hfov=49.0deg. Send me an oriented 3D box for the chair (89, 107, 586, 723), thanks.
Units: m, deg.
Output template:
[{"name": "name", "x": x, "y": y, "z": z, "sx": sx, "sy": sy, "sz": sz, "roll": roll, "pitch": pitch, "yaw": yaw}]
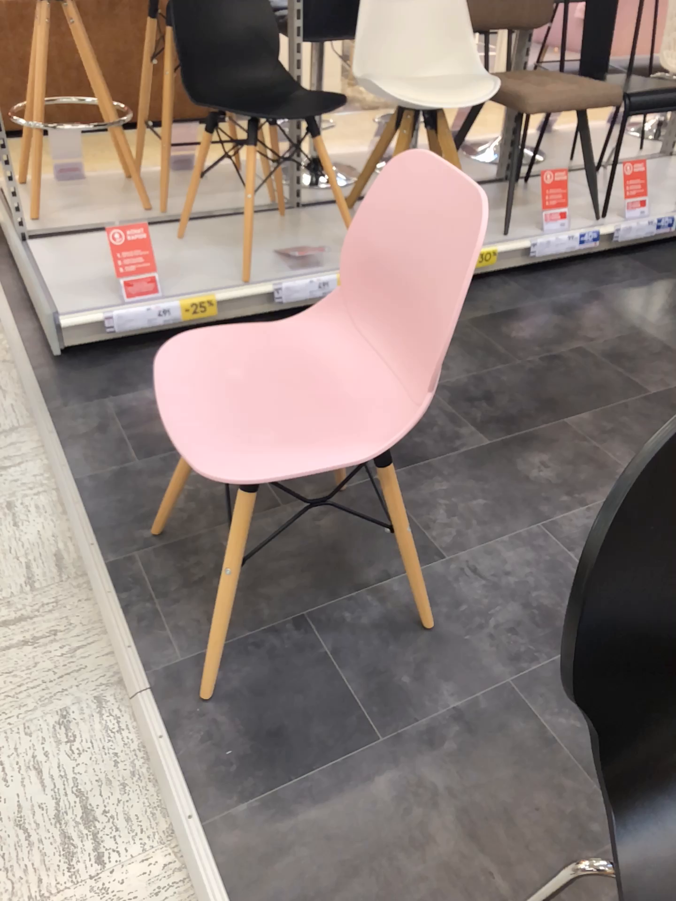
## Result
[{"name": "chair", "x": -0.055, "y": -0.082, "z": 1.323, "sx": 0.551, "sy": 0.846, "sz": 0.553, "roll": -12, "pitch": 39, "yaw": -19}]
